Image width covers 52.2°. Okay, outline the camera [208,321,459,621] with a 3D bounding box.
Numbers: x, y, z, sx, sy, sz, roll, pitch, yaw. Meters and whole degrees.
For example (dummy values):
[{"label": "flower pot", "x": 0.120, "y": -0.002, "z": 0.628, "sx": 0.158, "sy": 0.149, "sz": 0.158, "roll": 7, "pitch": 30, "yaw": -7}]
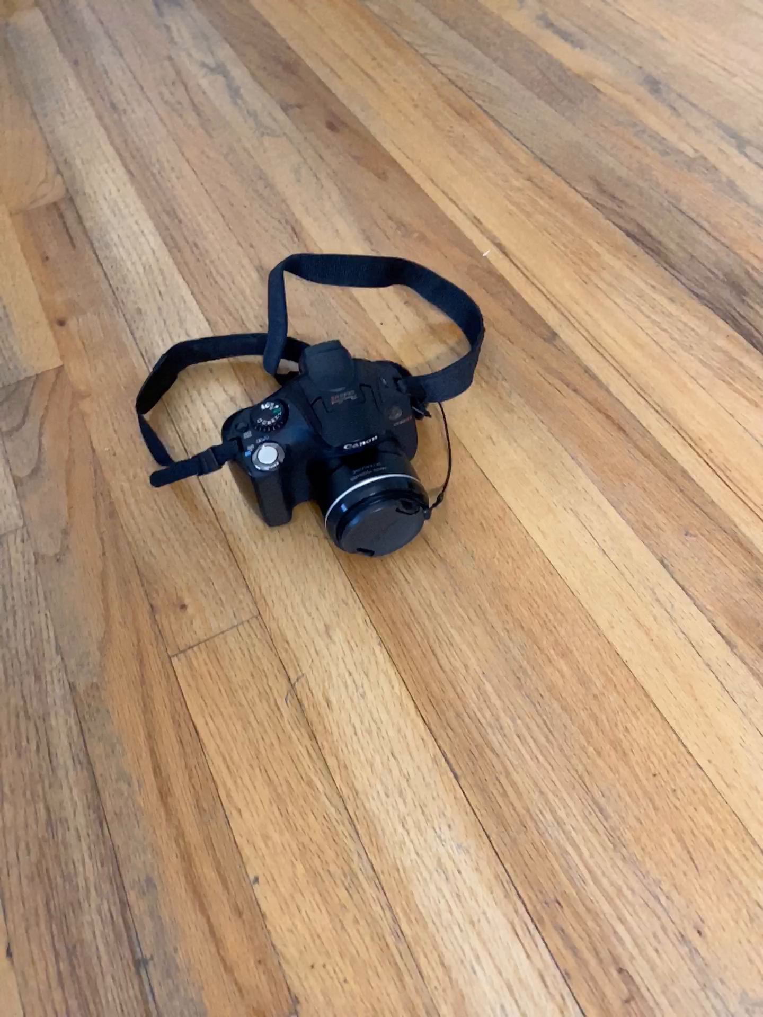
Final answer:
[{"label": "camera", "x": -0.028, "y": -0.024, "z": 0.497, "sx": 0.110, "sy": 0.110, "sz": 0.120, "roll": -22, "pitch": 56, "yaw": -10}]
